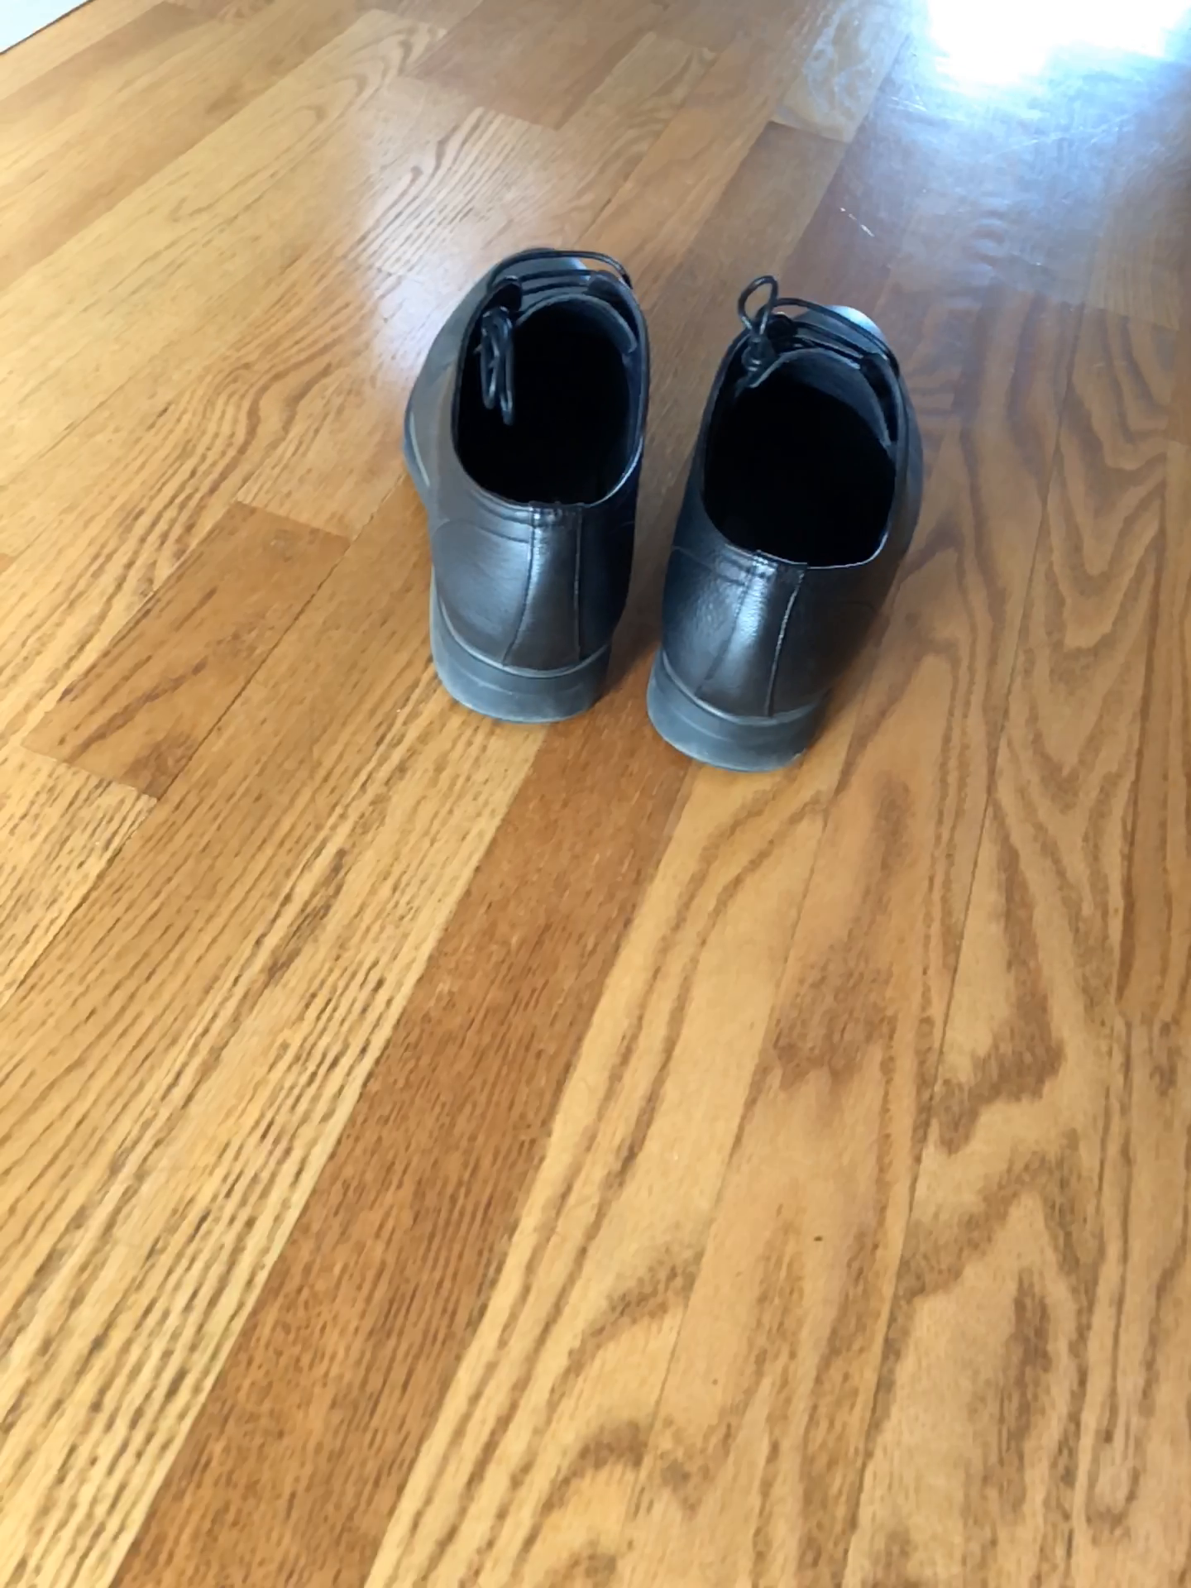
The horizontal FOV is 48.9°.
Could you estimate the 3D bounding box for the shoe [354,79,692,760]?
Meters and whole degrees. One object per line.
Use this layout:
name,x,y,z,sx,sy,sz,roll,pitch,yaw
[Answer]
shoe,-0.029,-0.175,0.569,0.110,0.123,0.305,5,50,-5

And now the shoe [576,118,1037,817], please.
shoe,0.097,-0.154,0.557,0.110,0.123,0.300,18,50,6
